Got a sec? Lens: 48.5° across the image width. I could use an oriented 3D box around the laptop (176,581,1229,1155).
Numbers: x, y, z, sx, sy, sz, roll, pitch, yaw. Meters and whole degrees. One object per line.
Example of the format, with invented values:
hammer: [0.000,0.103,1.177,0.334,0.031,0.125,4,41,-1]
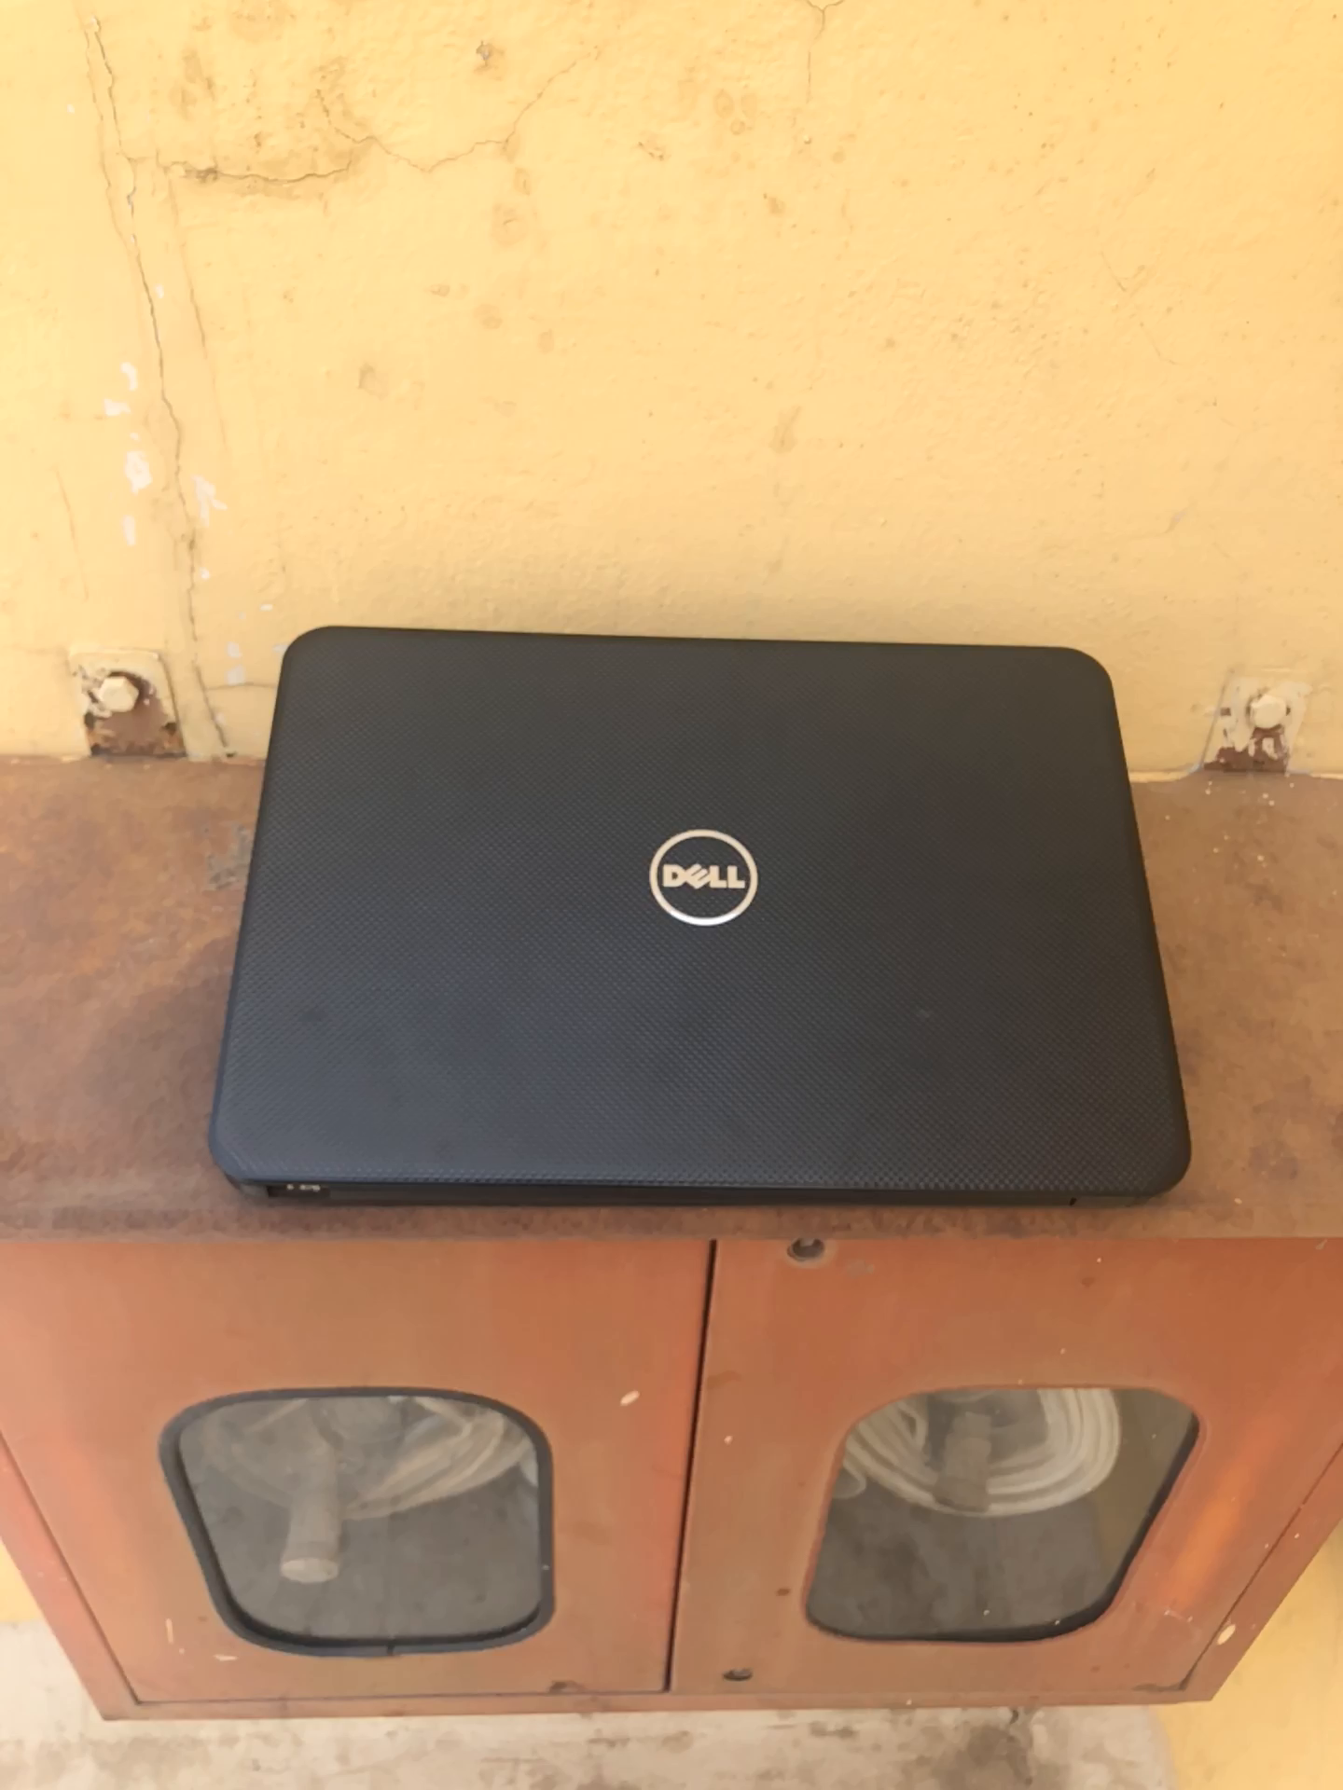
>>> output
laptop: [0.012,-0.013,0.585,0.352,0.098,0.184,1,51,-2]
